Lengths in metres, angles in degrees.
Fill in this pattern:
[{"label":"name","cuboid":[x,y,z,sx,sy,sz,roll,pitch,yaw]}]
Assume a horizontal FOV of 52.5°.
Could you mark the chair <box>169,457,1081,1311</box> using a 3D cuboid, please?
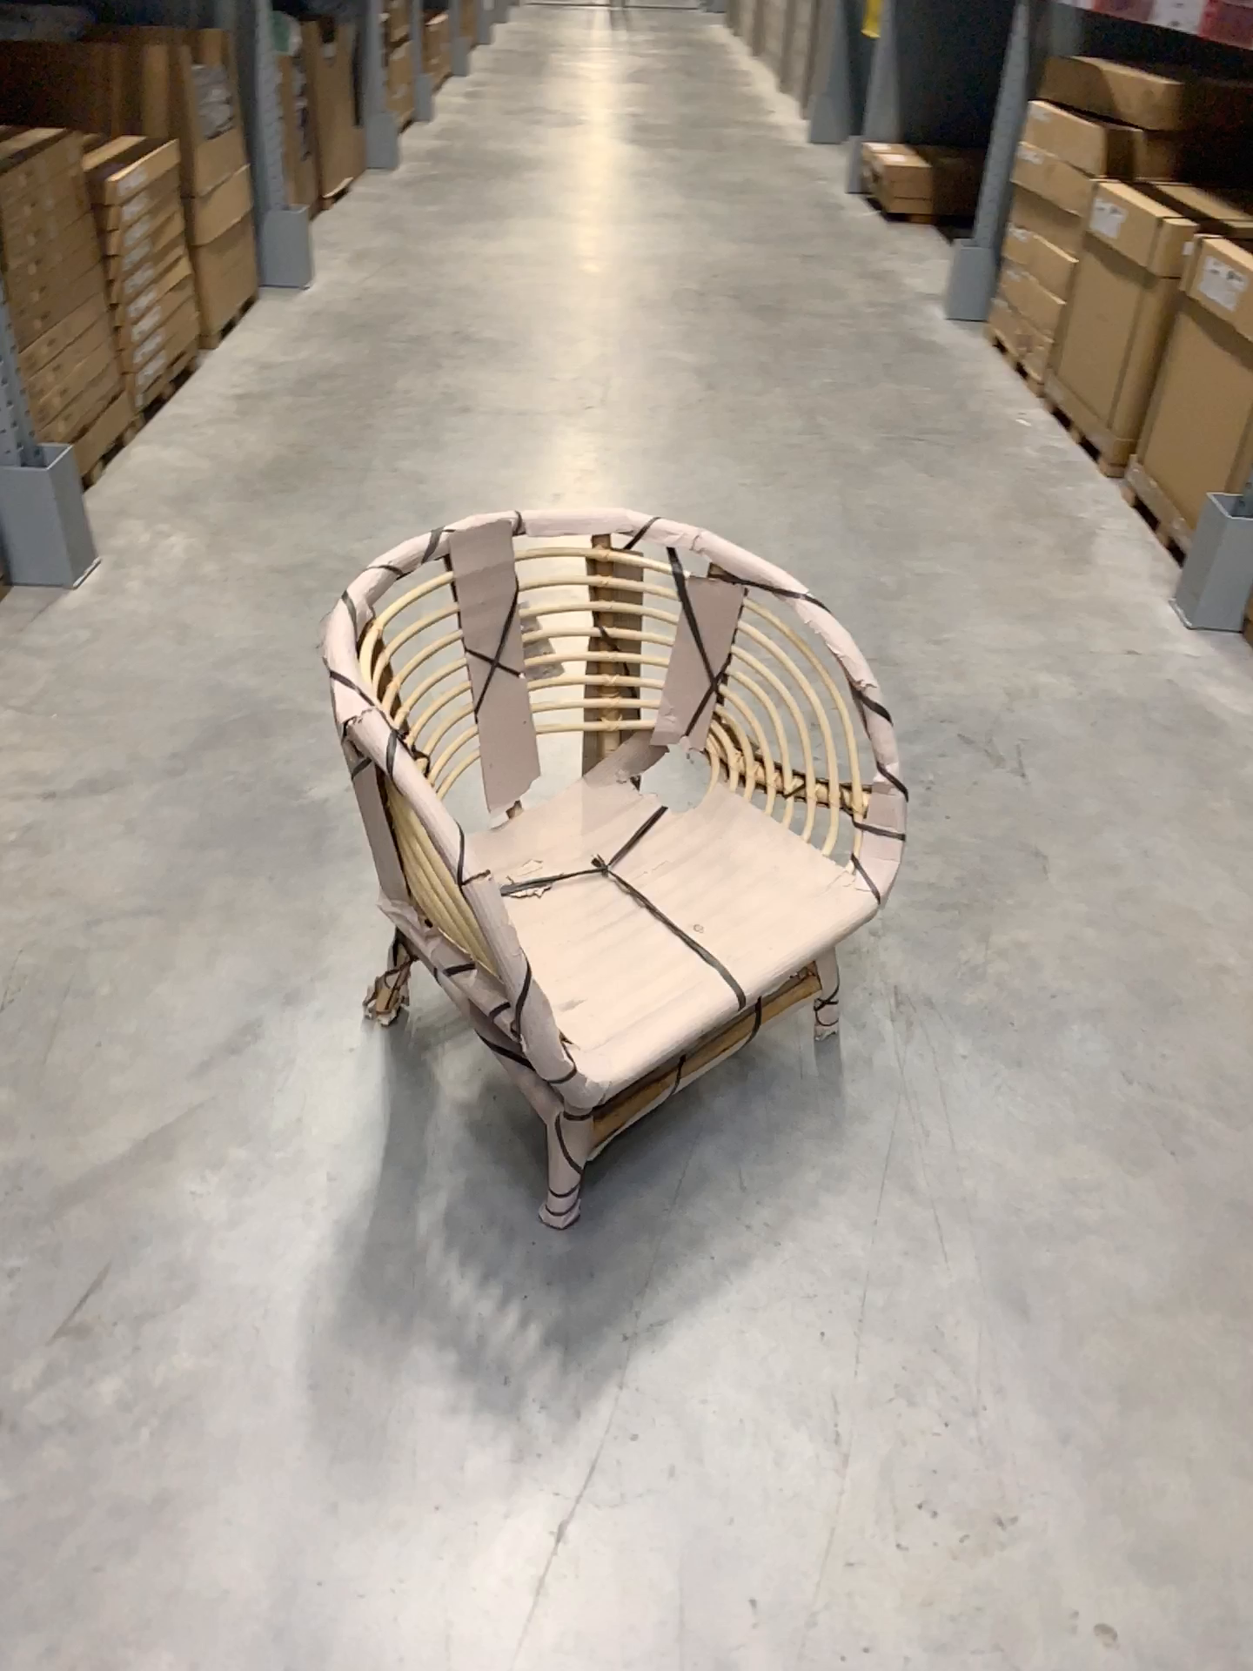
[{"label":"chair","cuboid":[-0.020,-0.027,1.648,0.751,0.568,0.762,-26,45,-34]}]
